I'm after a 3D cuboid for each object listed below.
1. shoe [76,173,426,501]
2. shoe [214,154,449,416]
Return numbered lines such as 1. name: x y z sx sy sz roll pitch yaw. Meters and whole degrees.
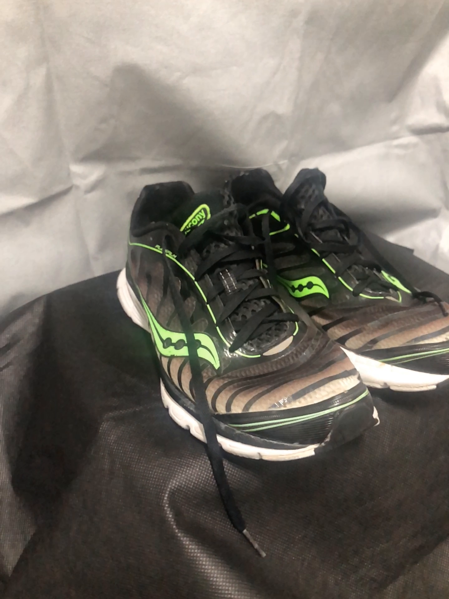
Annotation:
1. shoe: -0.004 -0.004 0.336 0.117 0.096 0.225 -16 33 -26
2. shoe: 0.097 -0.034 0.386 0.114 0.097 0.225 -16 33 -26
